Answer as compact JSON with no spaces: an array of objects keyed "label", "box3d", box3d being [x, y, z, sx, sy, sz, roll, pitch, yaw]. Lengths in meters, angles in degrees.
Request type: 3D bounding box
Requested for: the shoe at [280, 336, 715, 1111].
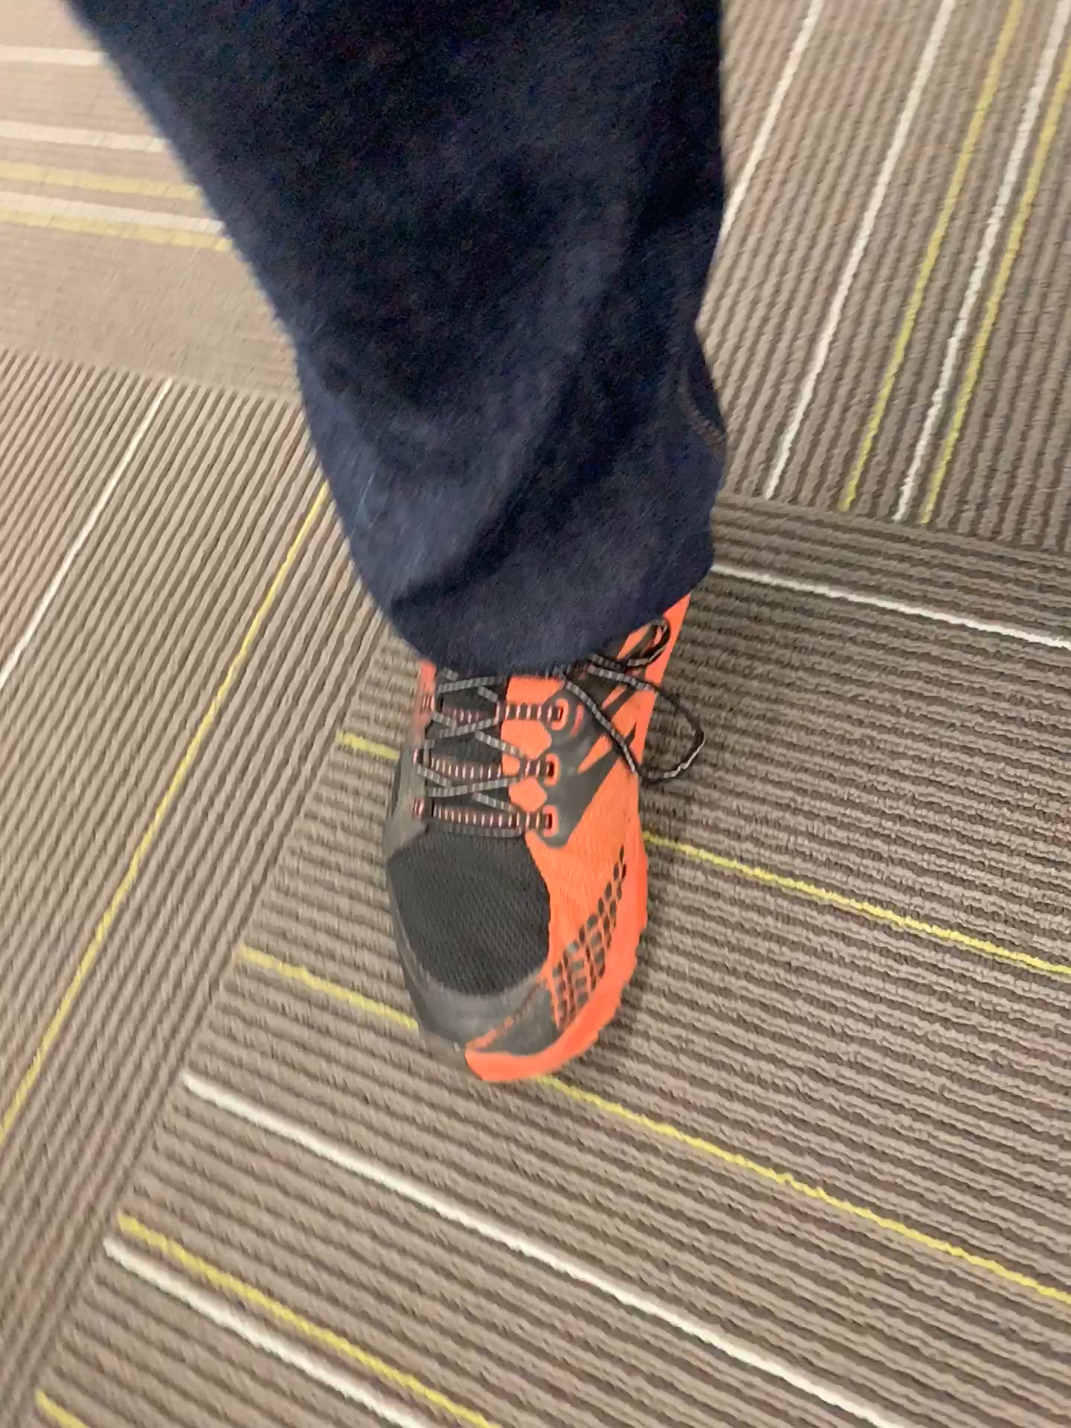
[{"label":"shoe","box3d":[0.001,0.001,0.500,0.120,0.120,0.320,3,69,17]}]
